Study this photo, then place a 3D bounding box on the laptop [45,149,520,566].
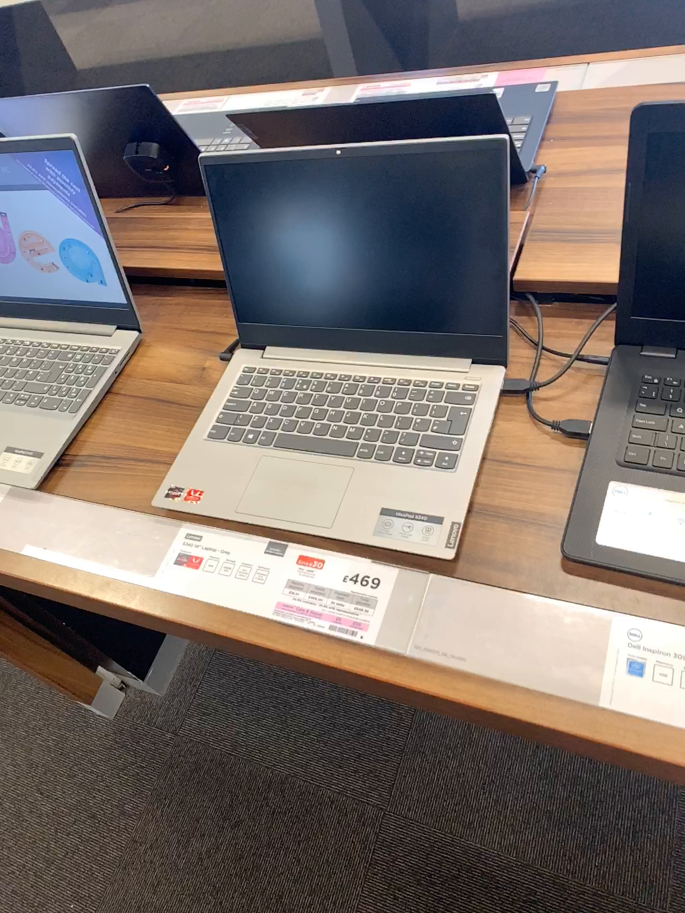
[{"bbox_3d":[-0.027,-0.106,0.657,0.316,0.199,0.295,8,56,24],"label":"laptop"}]
